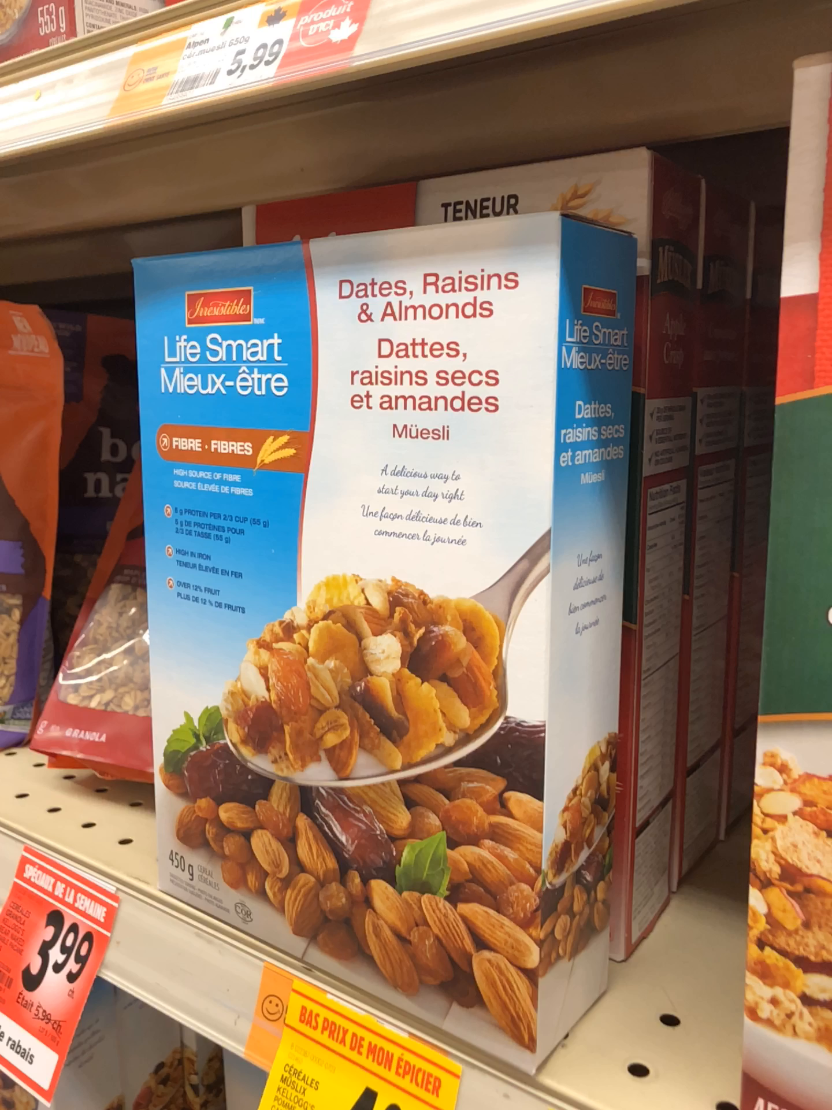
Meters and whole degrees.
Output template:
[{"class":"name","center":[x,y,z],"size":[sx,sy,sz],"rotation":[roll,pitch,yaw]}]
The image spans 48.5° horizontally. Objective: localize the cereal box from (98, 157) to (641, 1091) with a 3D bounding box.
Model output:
[{"class":"cereal box","center":[-0.021,0.014,0.299],"size":[0.170,0.239,0.050],"rotation":[8,14,37]}]
